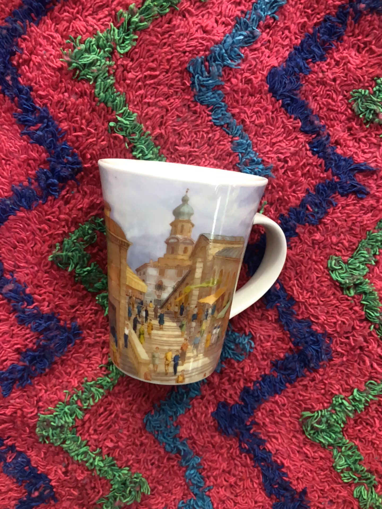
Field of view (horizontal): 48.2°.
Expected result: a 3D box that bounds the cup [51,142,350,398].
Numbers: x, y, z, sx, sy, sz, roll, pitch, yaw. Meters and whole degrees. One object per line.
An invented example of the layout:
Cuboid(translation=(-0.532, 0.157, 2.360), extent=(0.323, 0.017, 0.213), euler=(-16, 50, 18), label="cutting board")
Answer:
Cuboid(translation=(0.000, -0.002, 0.218), extent=(0.110, 0.090, 0.090), euler=(-1, 105, -35), label="cup")
